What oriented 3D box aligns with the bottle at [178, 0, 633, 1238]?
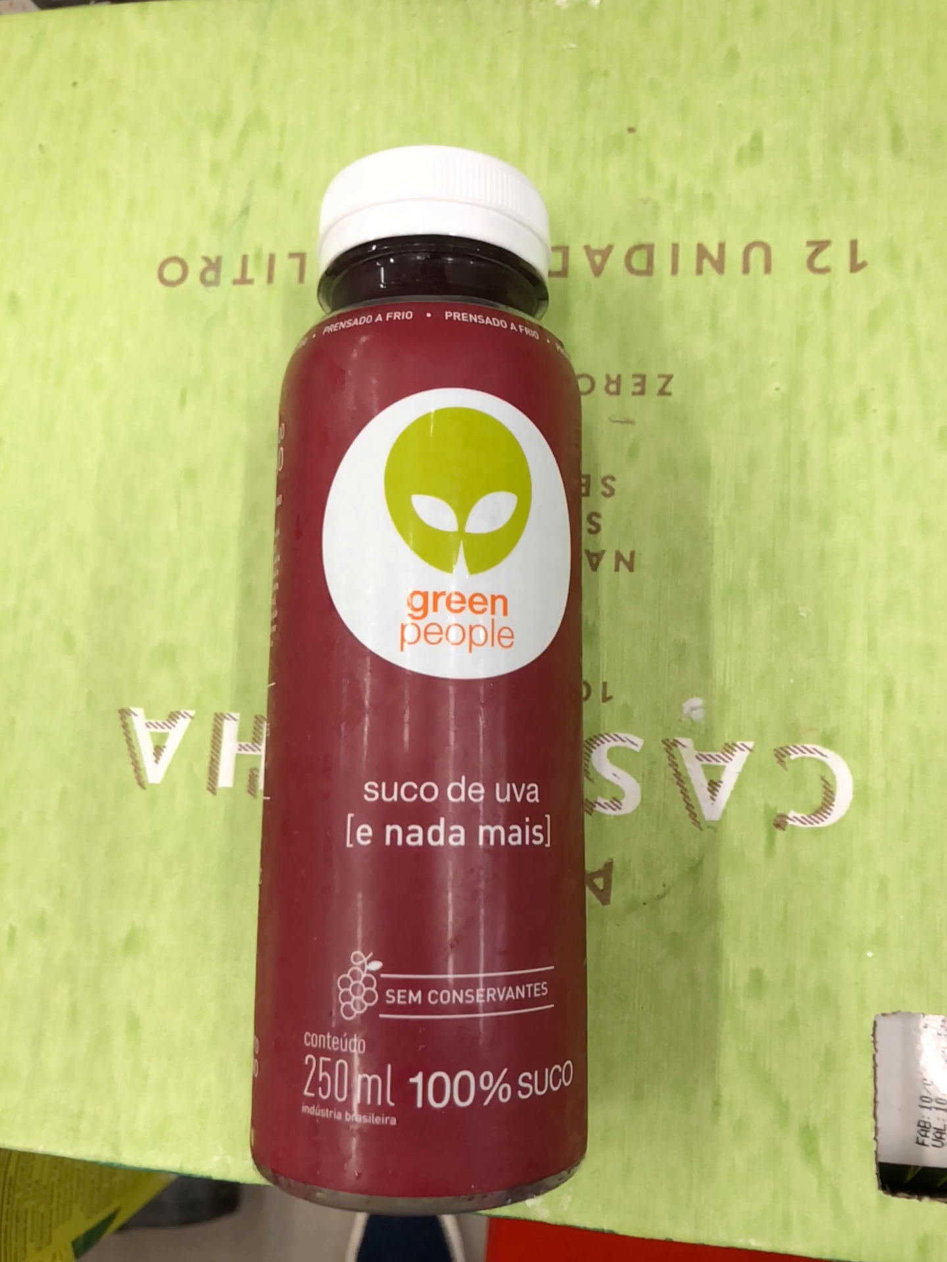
[{"bbox_3d":[-0.013,-0.003,0.180,0.060,0.060,0.170,3,82,-14],"label":"bottle"}]
